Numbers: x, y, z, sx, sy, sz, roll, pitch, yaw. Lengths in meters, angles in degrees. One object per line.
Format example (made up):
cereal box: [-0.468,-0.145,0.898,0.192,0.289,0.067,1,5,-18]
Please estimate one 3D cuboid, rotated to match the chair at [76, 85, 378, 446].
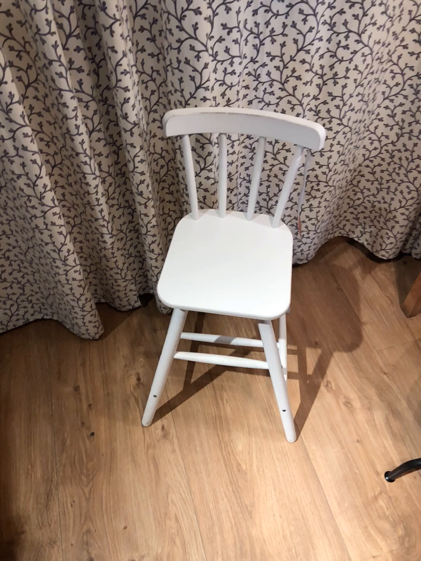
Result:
chair: [0.046,0.014,1.054,0.420,0.706,0.453,4,52,4]
